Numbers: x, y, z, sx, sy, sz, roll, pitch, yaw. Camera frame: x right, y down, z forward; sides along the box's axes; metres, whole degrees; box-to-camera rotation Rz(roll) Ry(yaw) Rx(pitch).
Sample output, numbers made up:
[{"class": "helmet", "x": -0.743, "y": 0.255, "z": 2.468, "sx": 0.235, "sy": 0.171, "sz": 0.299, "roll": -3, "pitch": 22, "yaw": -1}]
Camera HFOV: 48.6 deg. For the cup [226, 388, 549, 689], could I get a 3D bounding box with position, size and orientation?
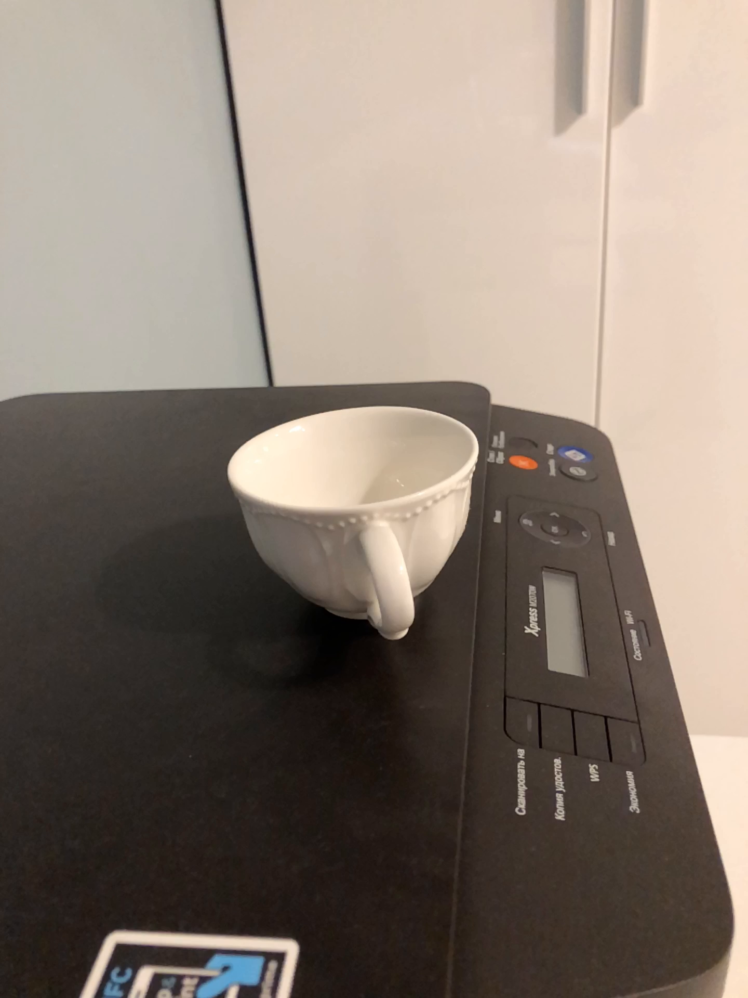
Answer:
[{"class": "cup", "x": -0.001, "y": 0.005, "z": 0.254, "sx": 0.076, "sy": 0.044, "sz": 0.094, "roll": -10, "pitch": 24, "yaw": -10}]
